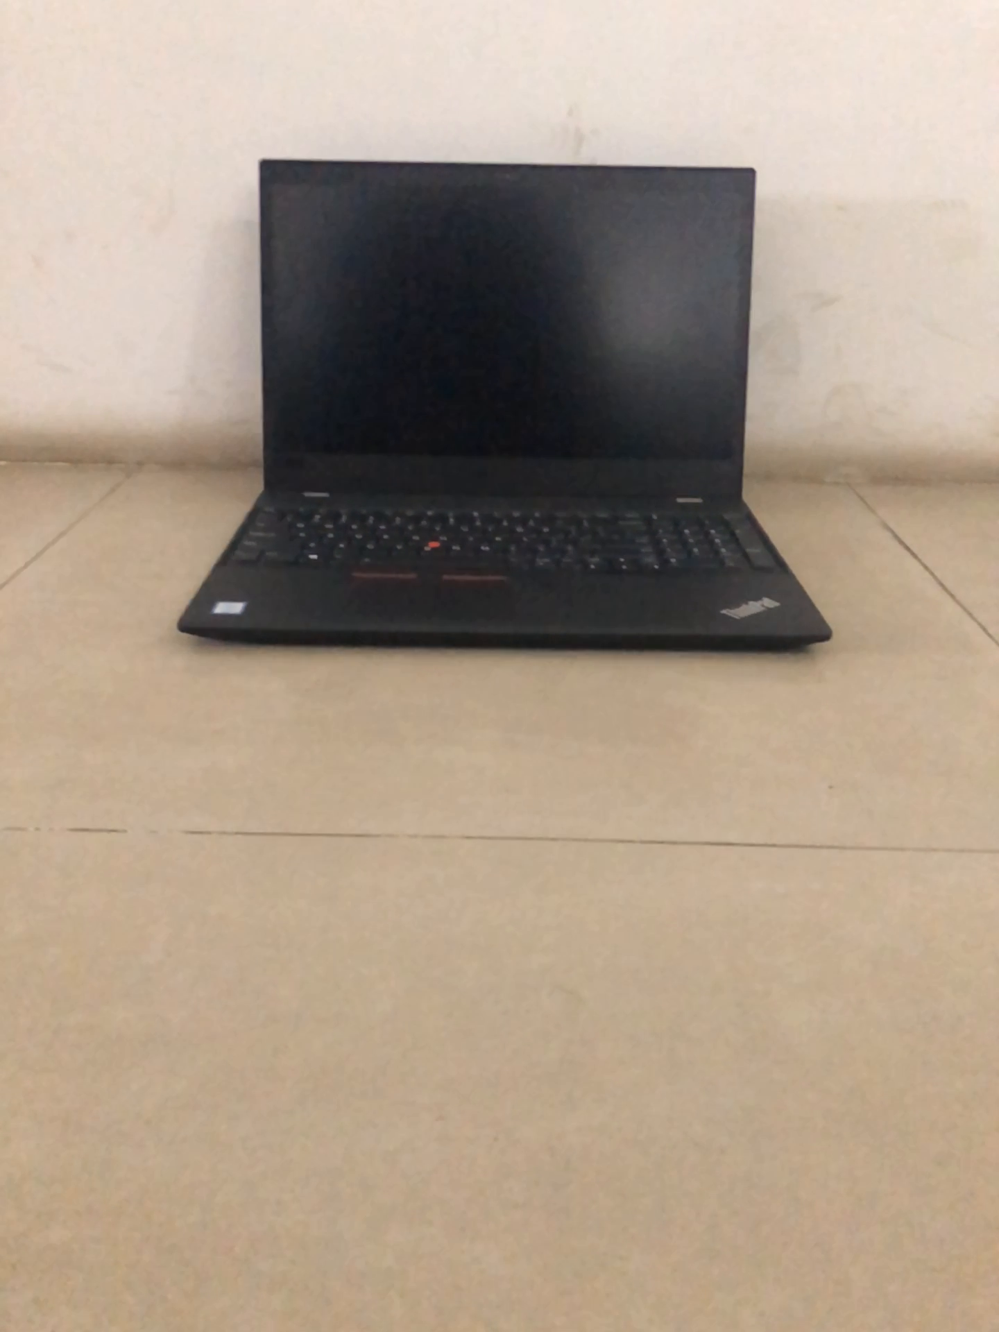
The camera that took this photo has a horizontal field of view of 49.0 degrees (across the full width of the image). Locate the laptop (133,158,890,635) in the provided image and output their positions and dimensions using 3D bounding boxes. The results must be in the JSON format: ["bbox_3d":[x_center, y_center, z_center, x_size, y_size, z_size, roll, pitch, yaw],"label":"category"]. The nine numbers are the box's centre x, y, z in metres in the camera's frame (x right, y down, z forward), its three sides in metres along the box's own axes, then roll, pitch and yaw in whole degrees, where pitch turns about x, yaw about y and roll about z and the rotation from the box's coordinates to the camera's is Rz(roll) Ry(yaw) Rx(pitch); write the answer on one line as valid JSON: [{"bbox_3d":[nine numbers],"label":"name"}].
[{"bbox_3d":[0.004,-0.193,0.699,0.351,0.214,0.329,1,27,-1],"label":"laptop"}]
